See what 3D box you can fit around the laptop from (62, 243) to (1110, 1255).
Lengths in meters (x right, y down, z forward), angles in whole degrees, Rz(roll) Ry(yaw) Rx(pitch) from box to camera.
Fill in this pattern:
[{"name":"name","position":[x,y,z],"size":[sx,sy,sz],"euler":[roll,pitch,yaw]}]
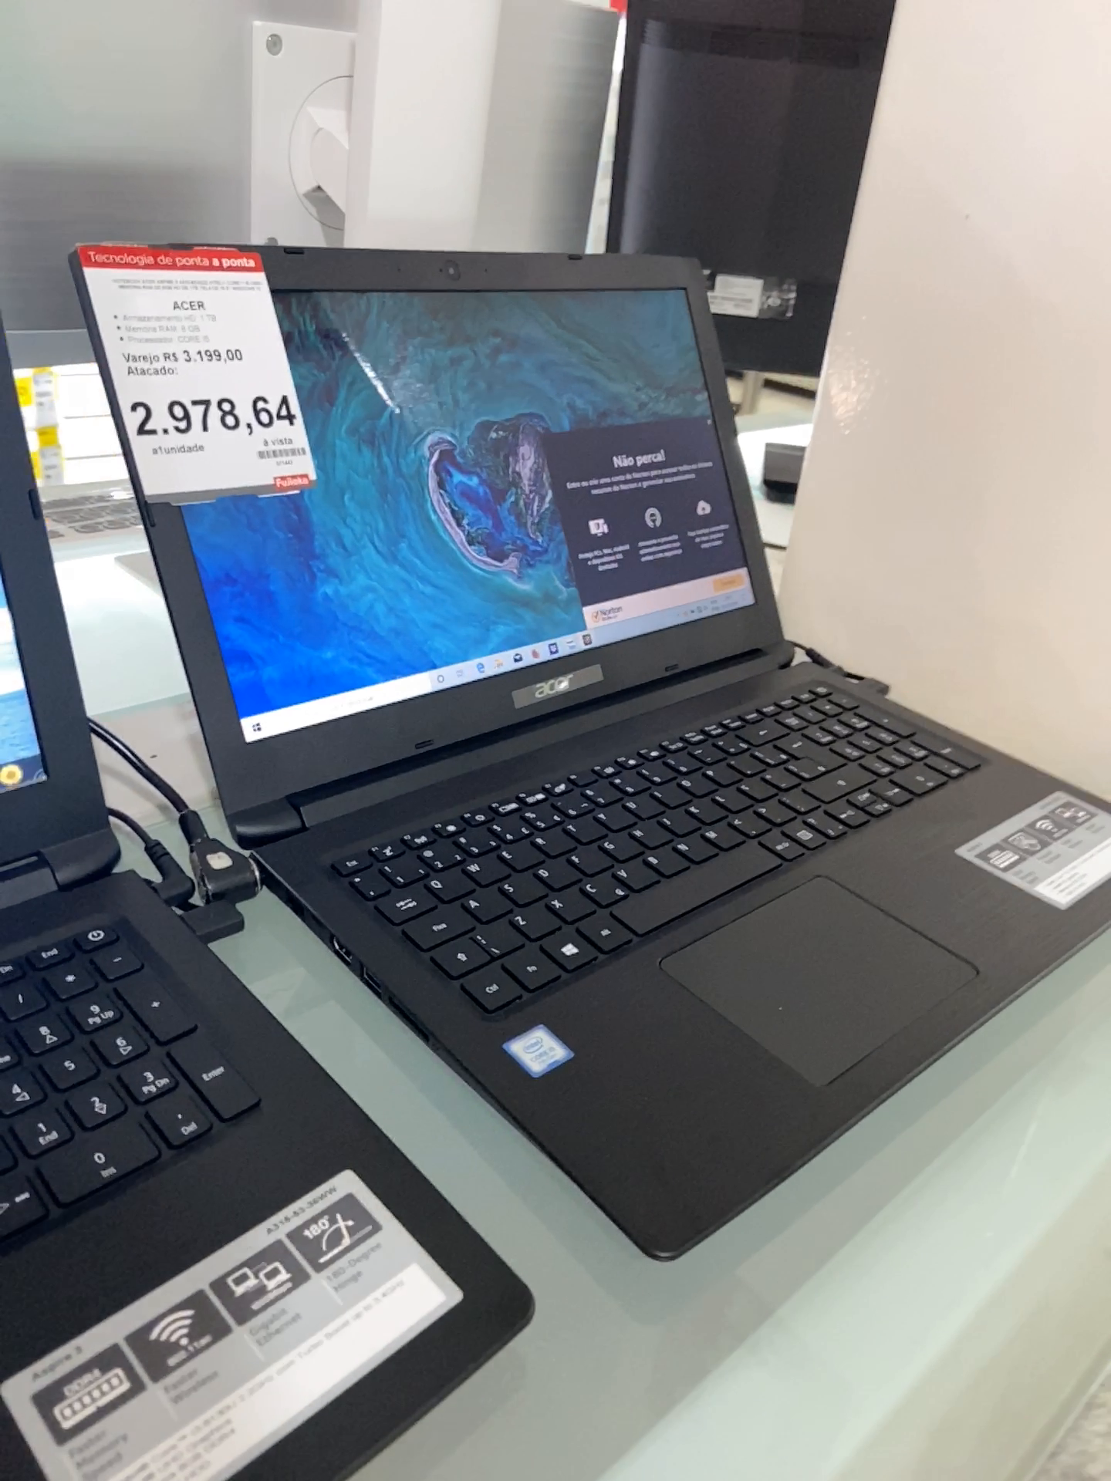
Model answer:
[{"name":"laptop","position":[0.054,-0.074,0.499],"size":[0.370,0.205,0.376],"euler":[-18,36,-38]}]
